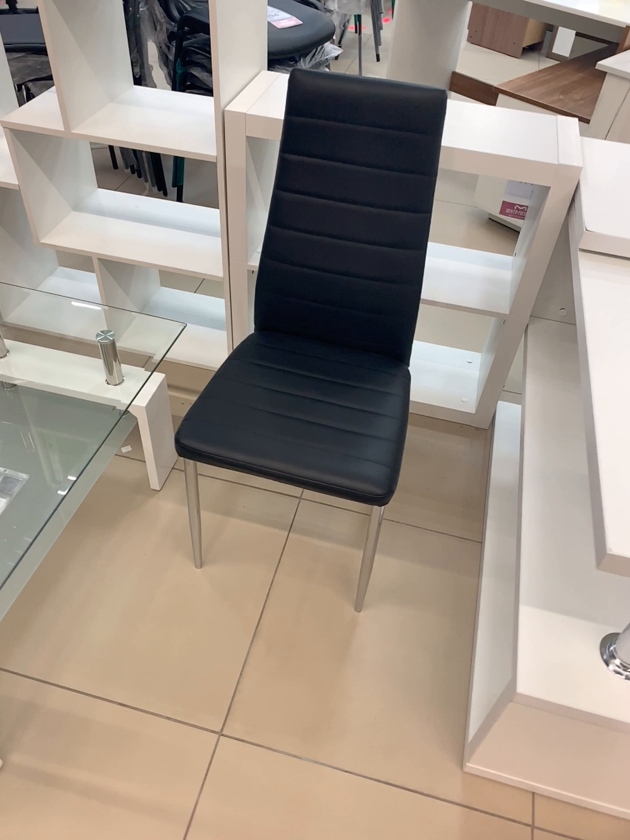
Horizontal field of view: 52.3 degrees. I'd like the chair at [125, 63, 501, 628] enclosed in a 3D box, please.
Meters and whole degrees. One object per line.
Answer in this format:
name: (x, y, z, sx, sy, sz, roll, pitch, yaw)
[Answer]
chair: (0.026, -0.126, 1.329, 0.440, 0.916, 0.602, 13, 44, 10)
